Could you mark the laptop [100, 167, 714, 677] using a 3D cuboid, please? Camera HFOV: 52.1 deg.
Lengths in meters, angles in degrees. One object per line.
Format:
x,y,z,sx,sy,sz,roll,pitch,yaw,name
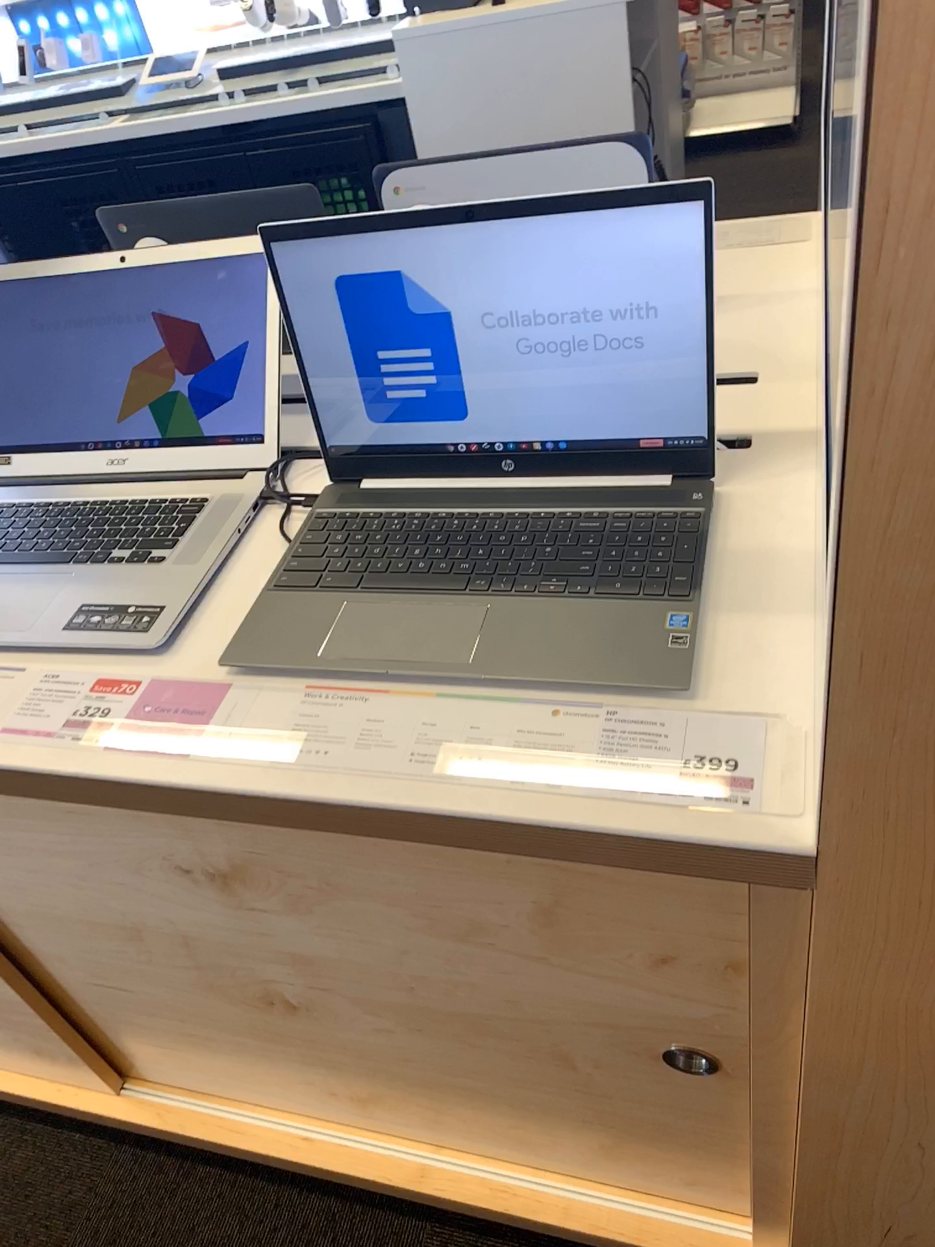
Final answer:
-0.010,-0.147,0.703,0.351,0.228,0.265,2,43,18,laptop
